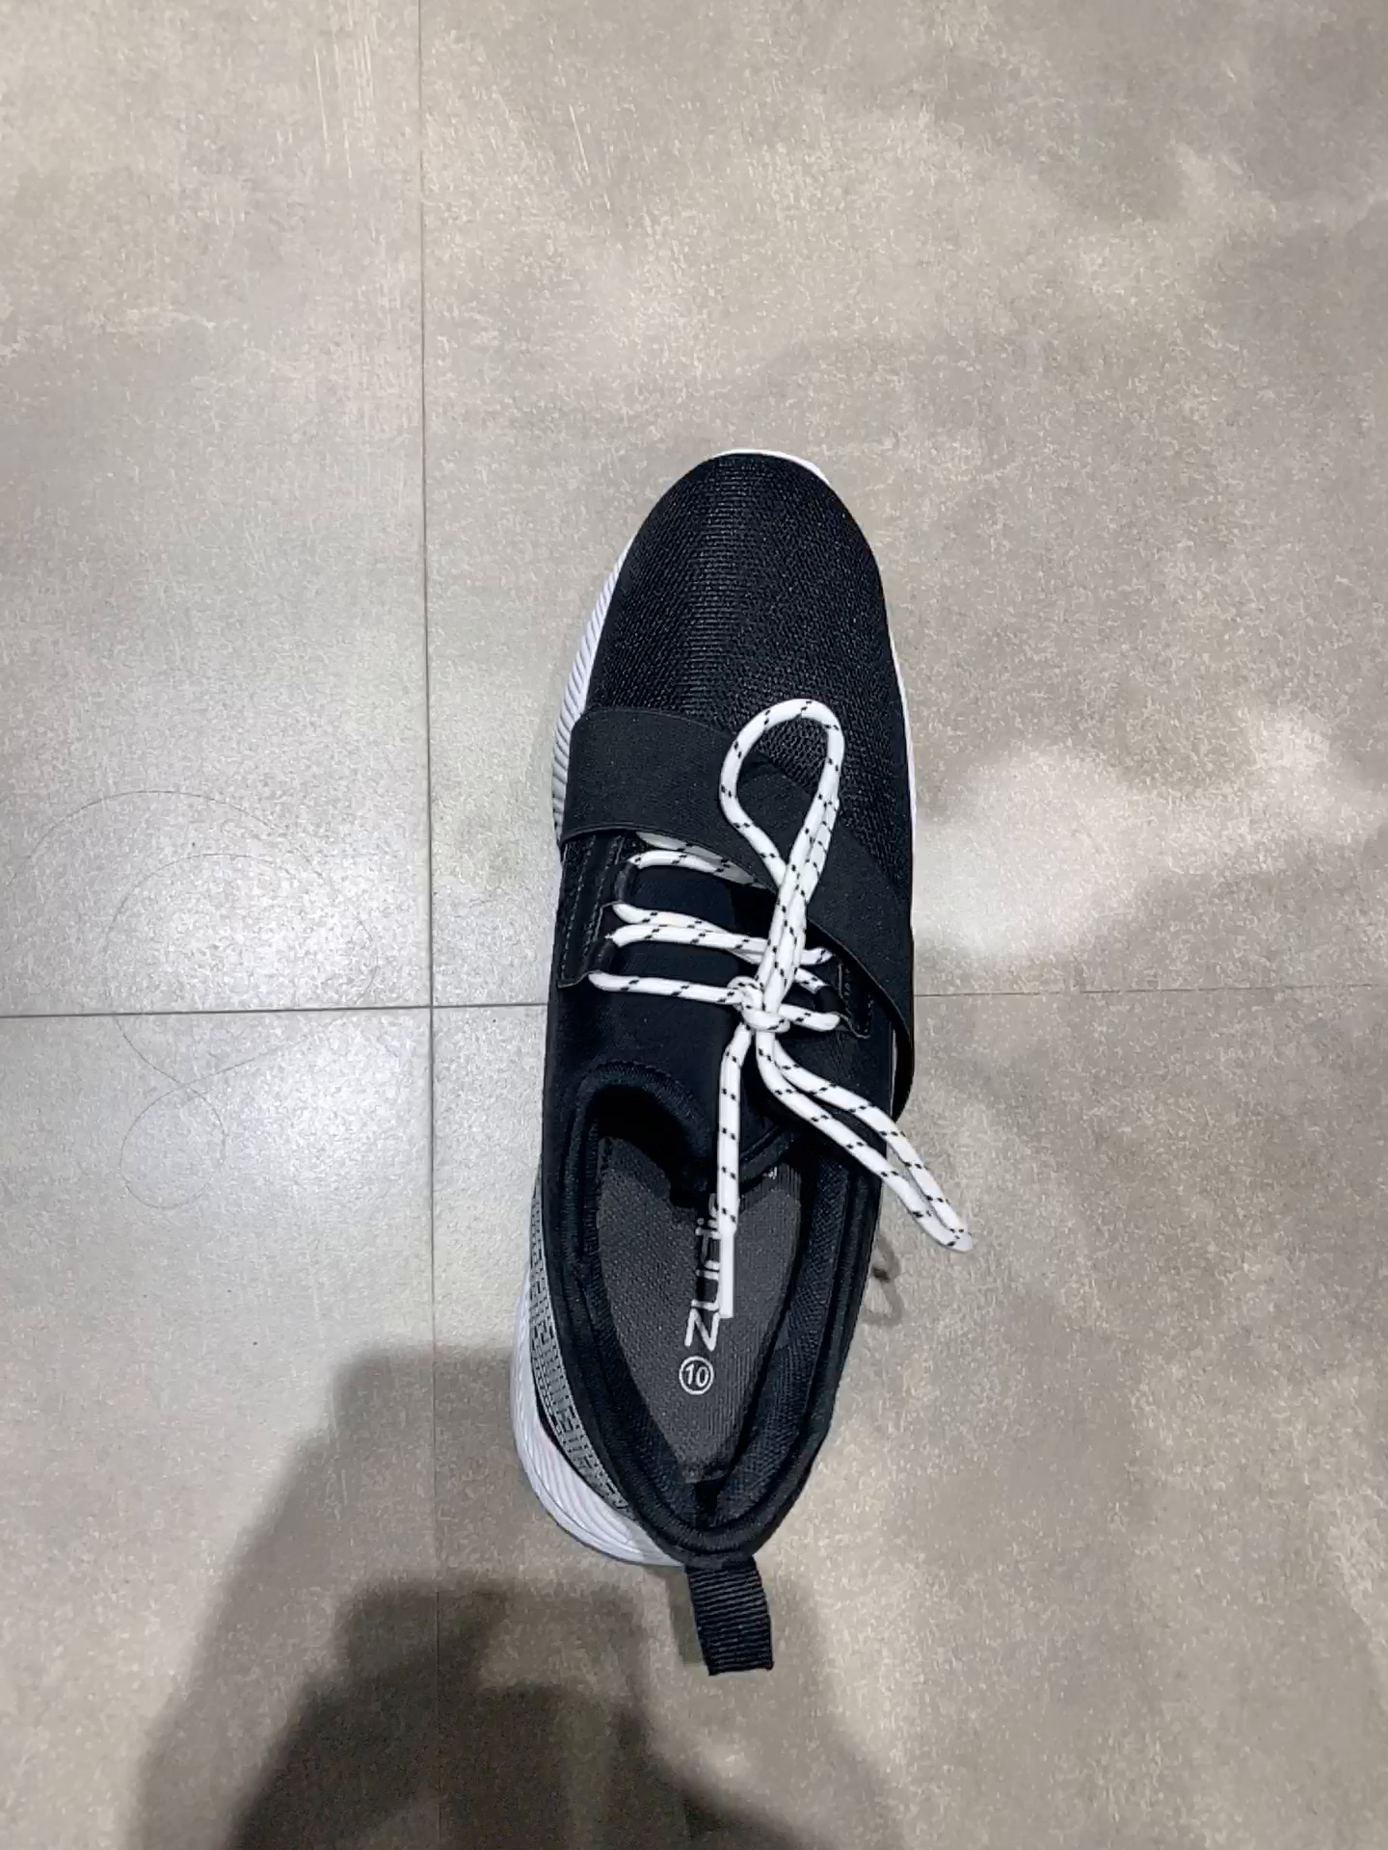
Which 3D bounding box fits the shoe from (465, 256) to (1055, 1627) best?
[{"bbox_3d":[0.013,0.006,0.383,0.116,0.132,0.304,6,77,-9],"label":"shoe"}]
